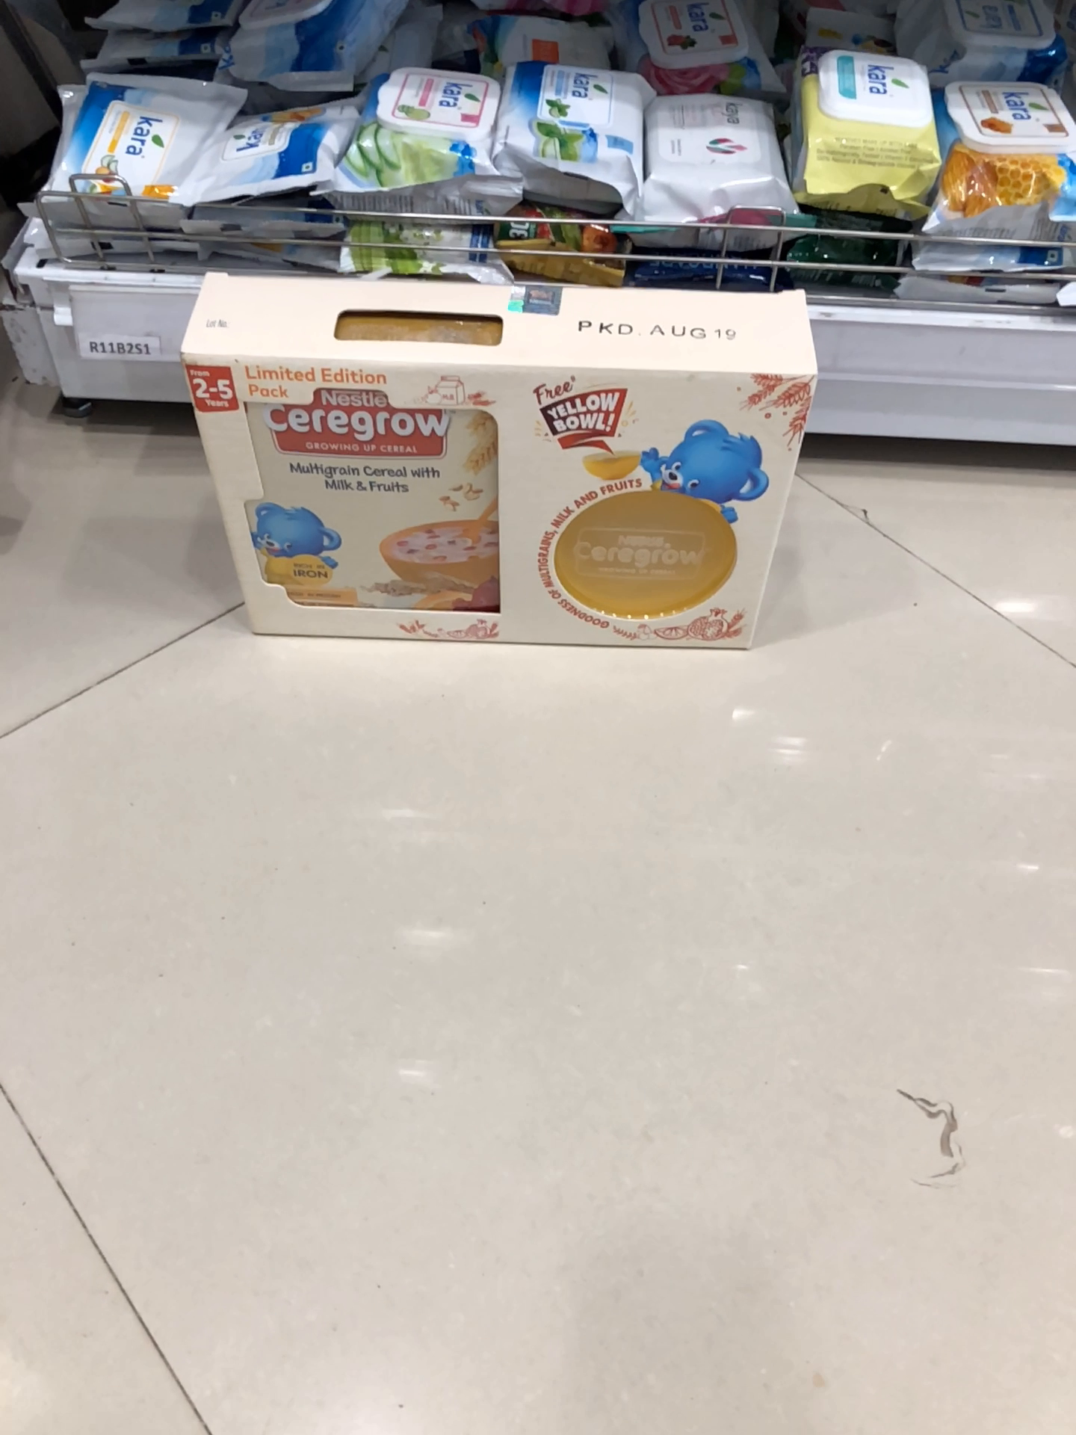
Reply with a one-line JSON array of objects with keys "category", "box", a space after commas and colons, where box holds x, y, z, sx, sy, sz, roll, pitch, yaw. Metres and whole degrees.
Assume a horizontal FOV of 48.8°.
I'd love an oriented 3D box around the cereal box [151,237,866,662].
[{"category": "cereal box", "box": [-0.013, -0.129, 0.618, 0.310, 0.209, 0.070, 2, 53, 1]}]
